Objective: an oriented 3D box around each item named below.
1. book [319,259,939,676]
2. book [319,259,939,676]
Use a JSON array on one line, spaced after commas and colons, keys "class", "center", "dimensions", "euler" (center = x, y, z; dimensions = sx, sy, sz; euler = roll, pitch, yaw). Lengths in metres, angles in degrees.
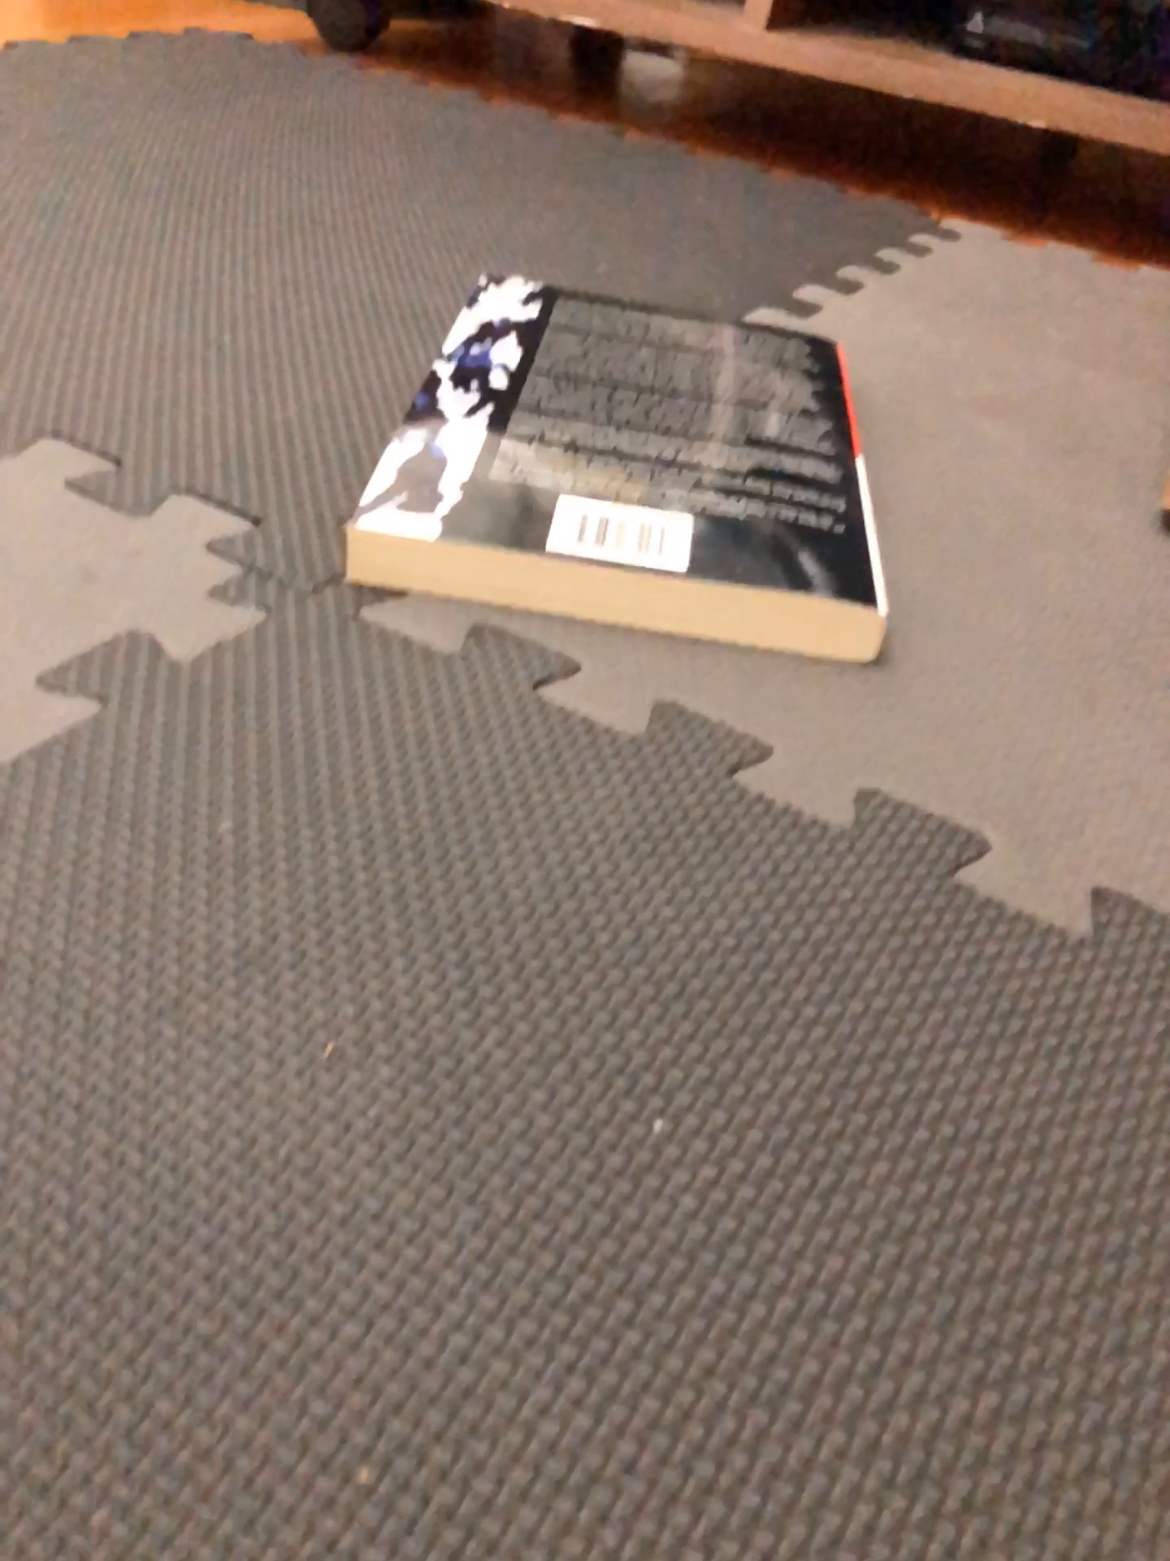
[{"class": "book", "center": [0.020, -0.113, 0.410], "dimensions": [0.150, 0.020, 0.231], "euler": [9, 36, 0]}, {"class": "book", "center": [0.020, -0.113, 0.410], "dimensions": [0.150, 0.020, 0.231], "euler": [9, 36, 0]}]
